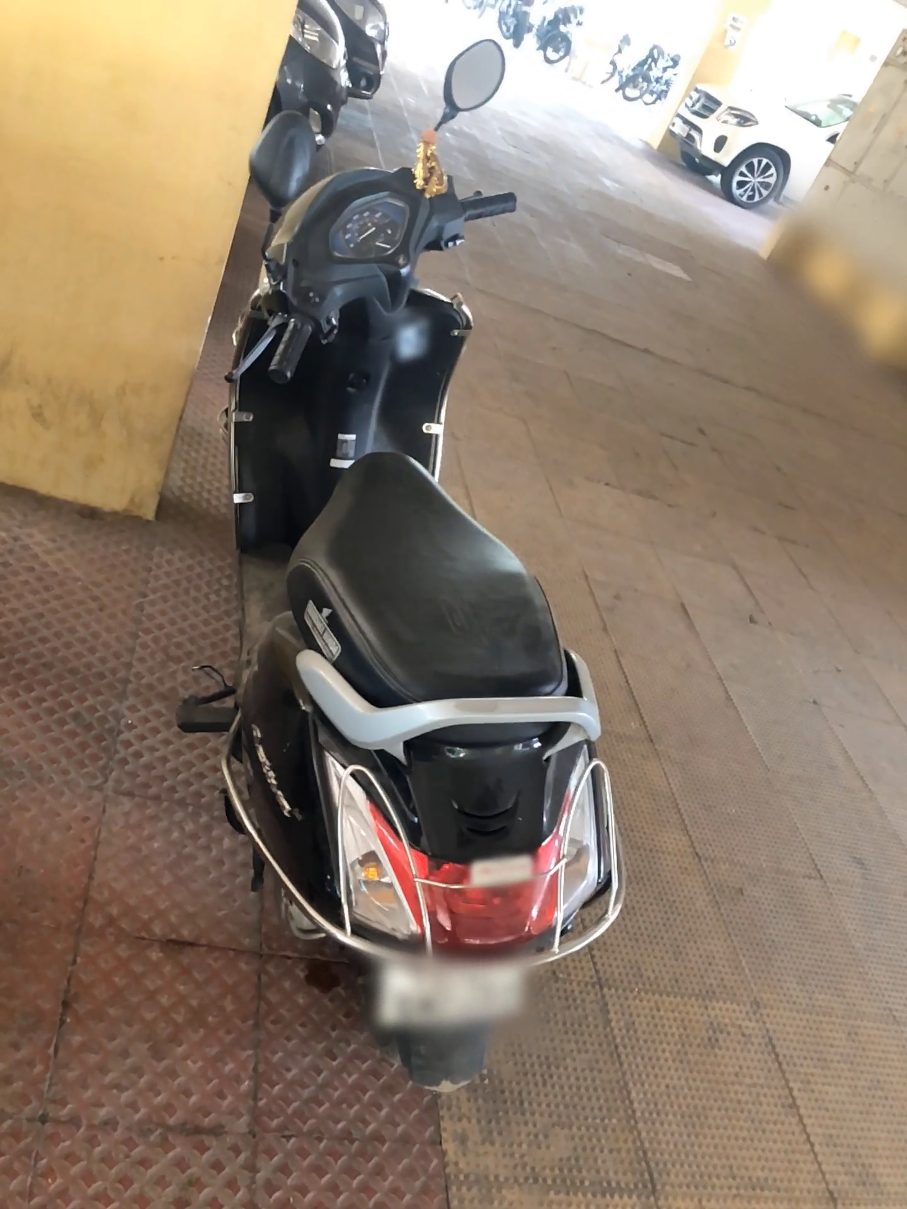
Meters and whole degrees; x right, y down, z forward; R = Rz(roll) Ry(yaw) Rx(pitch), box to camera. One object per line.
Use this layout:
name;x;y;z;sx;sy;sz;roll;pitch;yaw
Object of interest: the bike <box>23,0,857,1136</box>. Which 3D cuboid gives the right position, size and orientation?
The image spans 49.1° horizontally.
bike;-0.283;-0.156;1.725;0.609;1.172;1.445;5;40;-31
